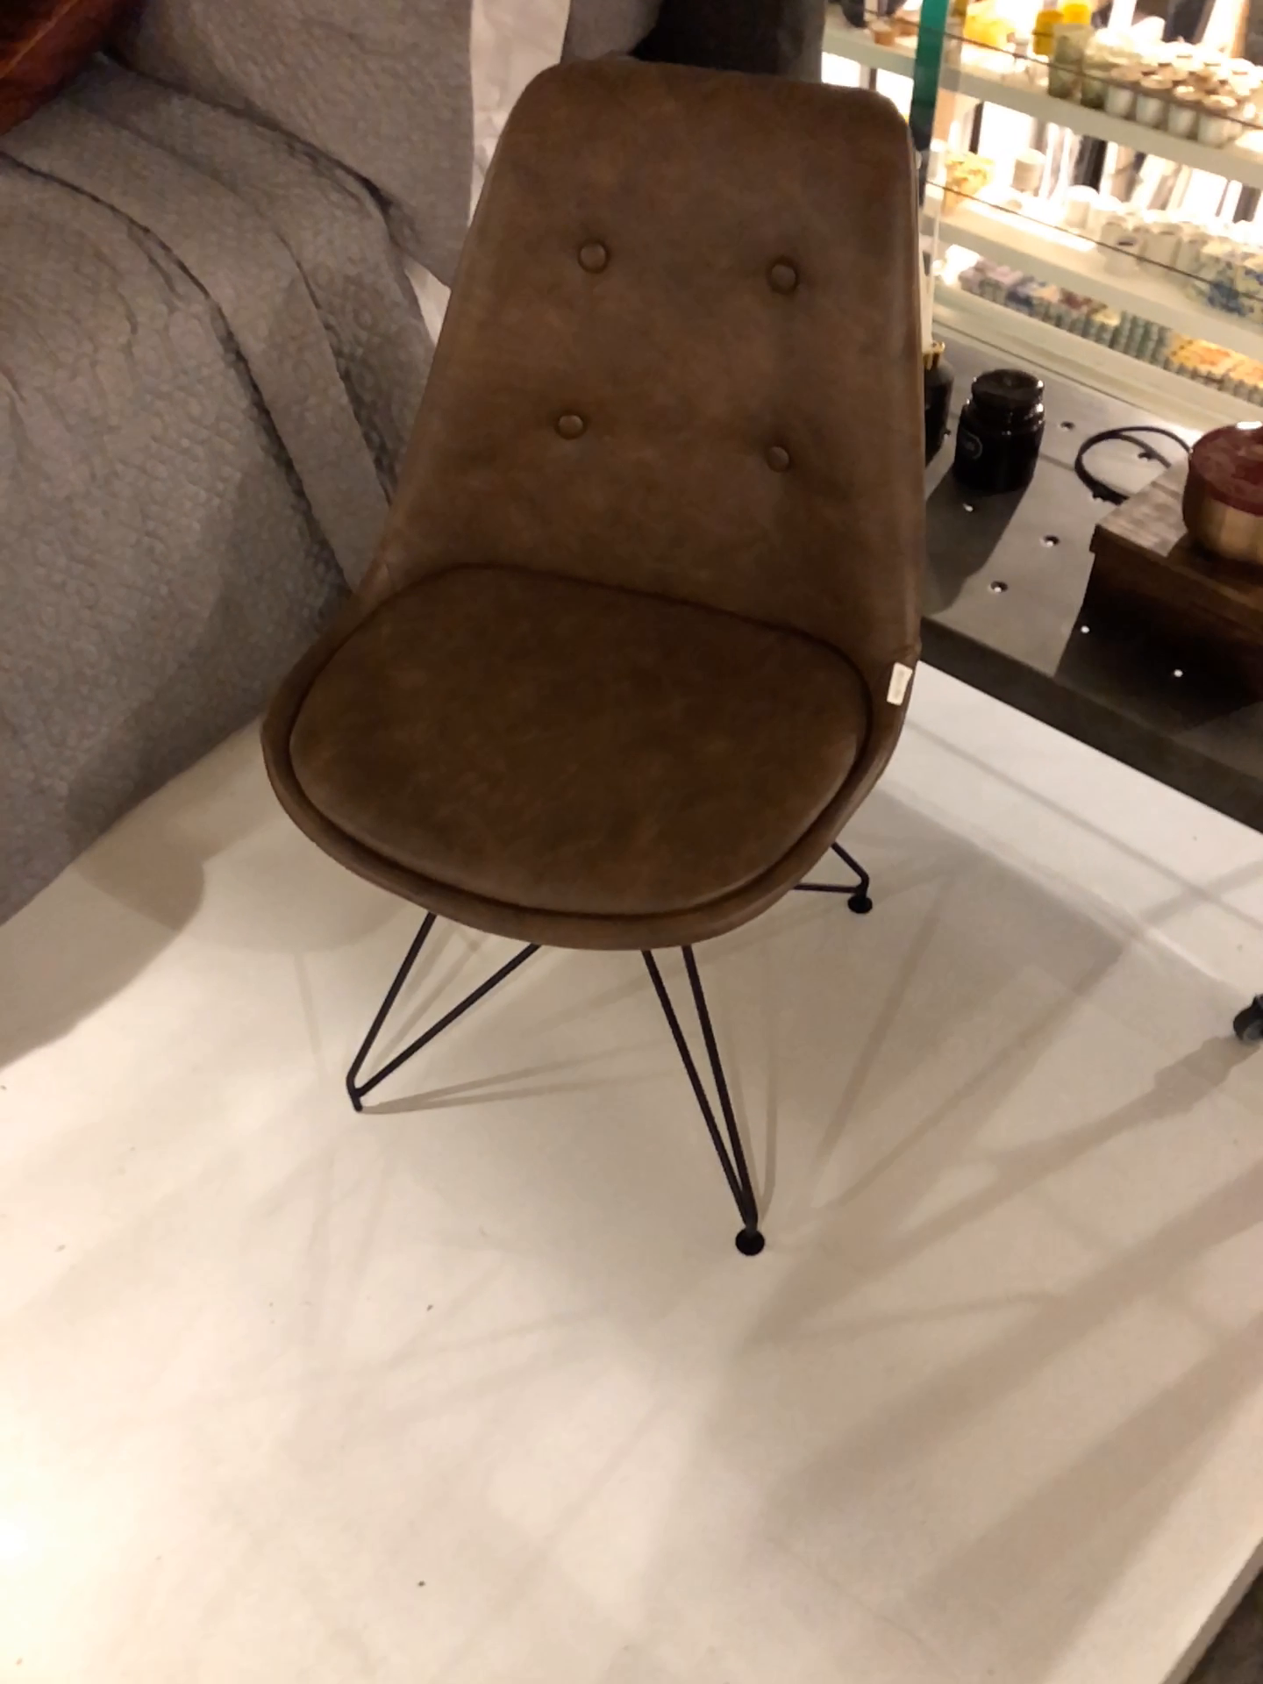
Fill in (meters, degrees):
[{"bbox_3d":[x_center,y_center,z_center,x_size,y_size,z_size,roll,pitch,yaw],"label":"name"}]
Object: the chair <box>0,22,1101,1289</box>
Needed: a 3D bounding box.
[{"bbox_3d":[-0.008,-0.134,1.134,0.510,0.754,0.554,16,51,16],"label":"chair"}]
